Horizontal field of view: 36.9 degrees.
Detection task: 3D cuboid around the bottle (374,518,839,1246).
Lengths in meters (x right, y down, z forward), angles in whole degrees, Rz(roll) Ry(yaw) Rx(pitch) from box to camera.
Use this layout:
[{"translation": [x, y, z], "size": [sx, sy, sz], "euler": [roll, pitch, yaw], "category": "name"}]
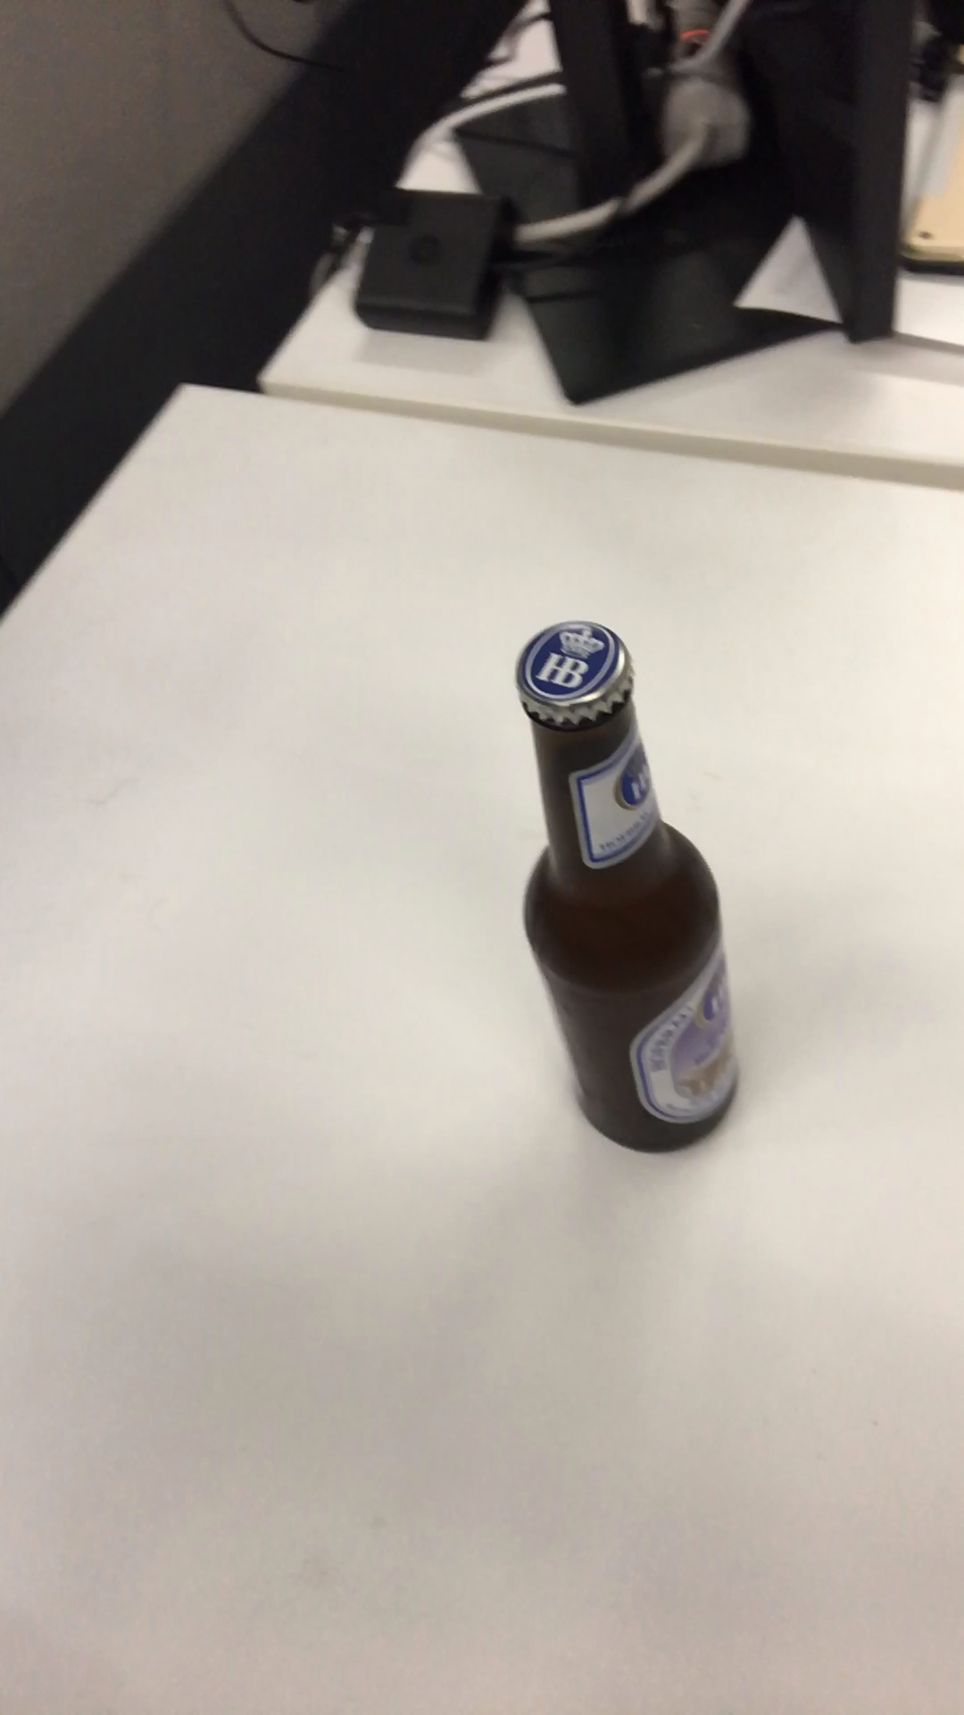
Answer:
[{"translation": [0.049, 0.022, 0.429], "size": [0.080, 0.230, 0.080], "euler": [-6, 54, 8], "category": "bottle"}]
